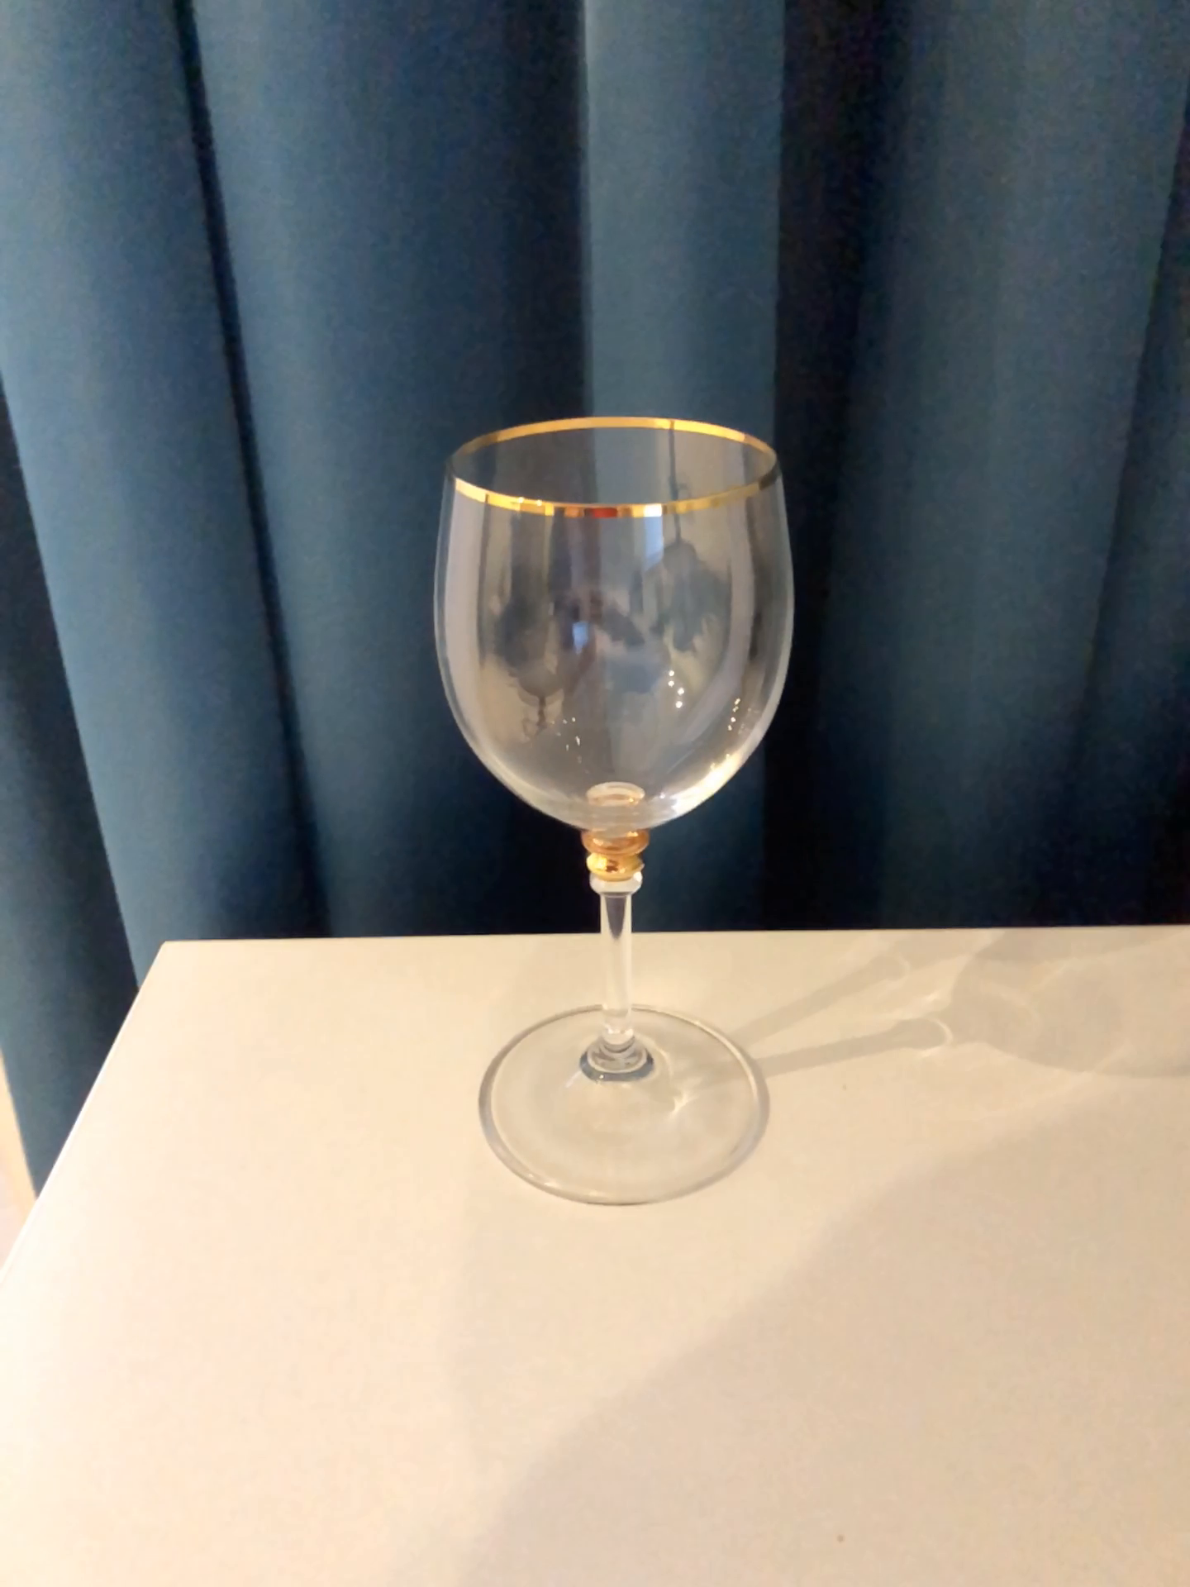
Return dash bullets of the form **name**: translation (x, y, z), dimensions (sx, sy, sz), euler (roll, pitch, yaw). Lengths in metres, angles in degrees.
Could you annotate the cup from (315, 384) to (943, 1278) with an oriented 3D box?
- **cup**: translation (0.012, 0.001, 0.329), dimensions (0.100, 0.179, 0.101), euler (-1, 26, 0)
